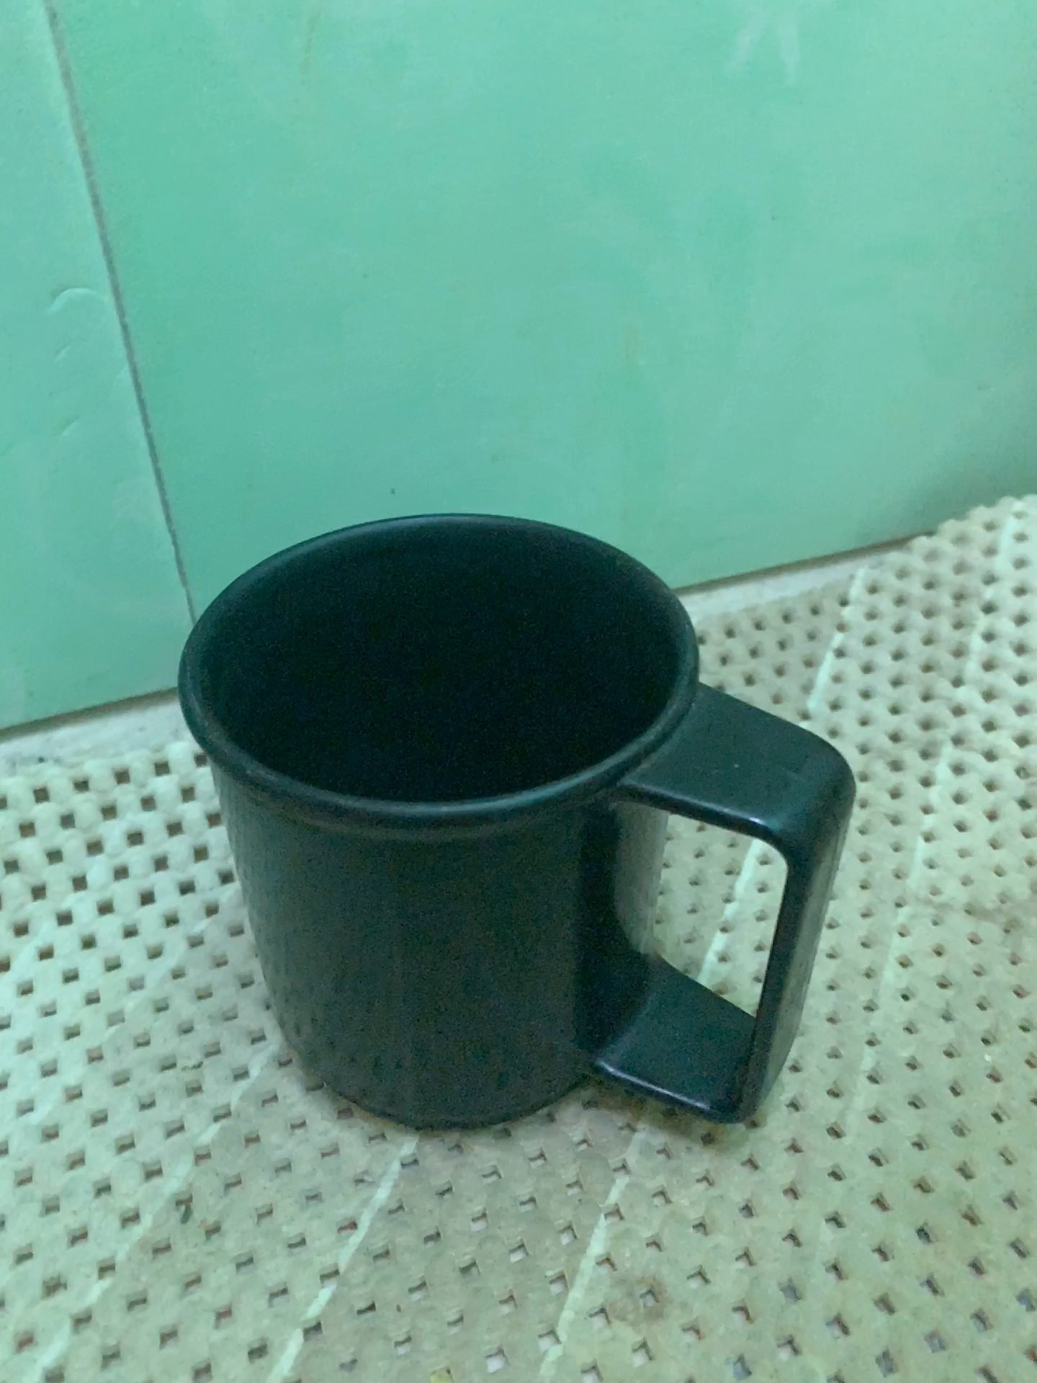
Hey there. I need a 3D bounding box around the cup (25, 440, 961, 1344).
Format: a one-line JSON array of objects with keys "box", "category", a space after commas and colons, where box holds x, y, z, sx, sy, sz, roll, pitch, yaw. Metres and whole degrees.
[{"box": [0.000, 0.022, 0.189, 0.111, 0.082, 0.090, 19, 42, 25], "category": "cup"}]
